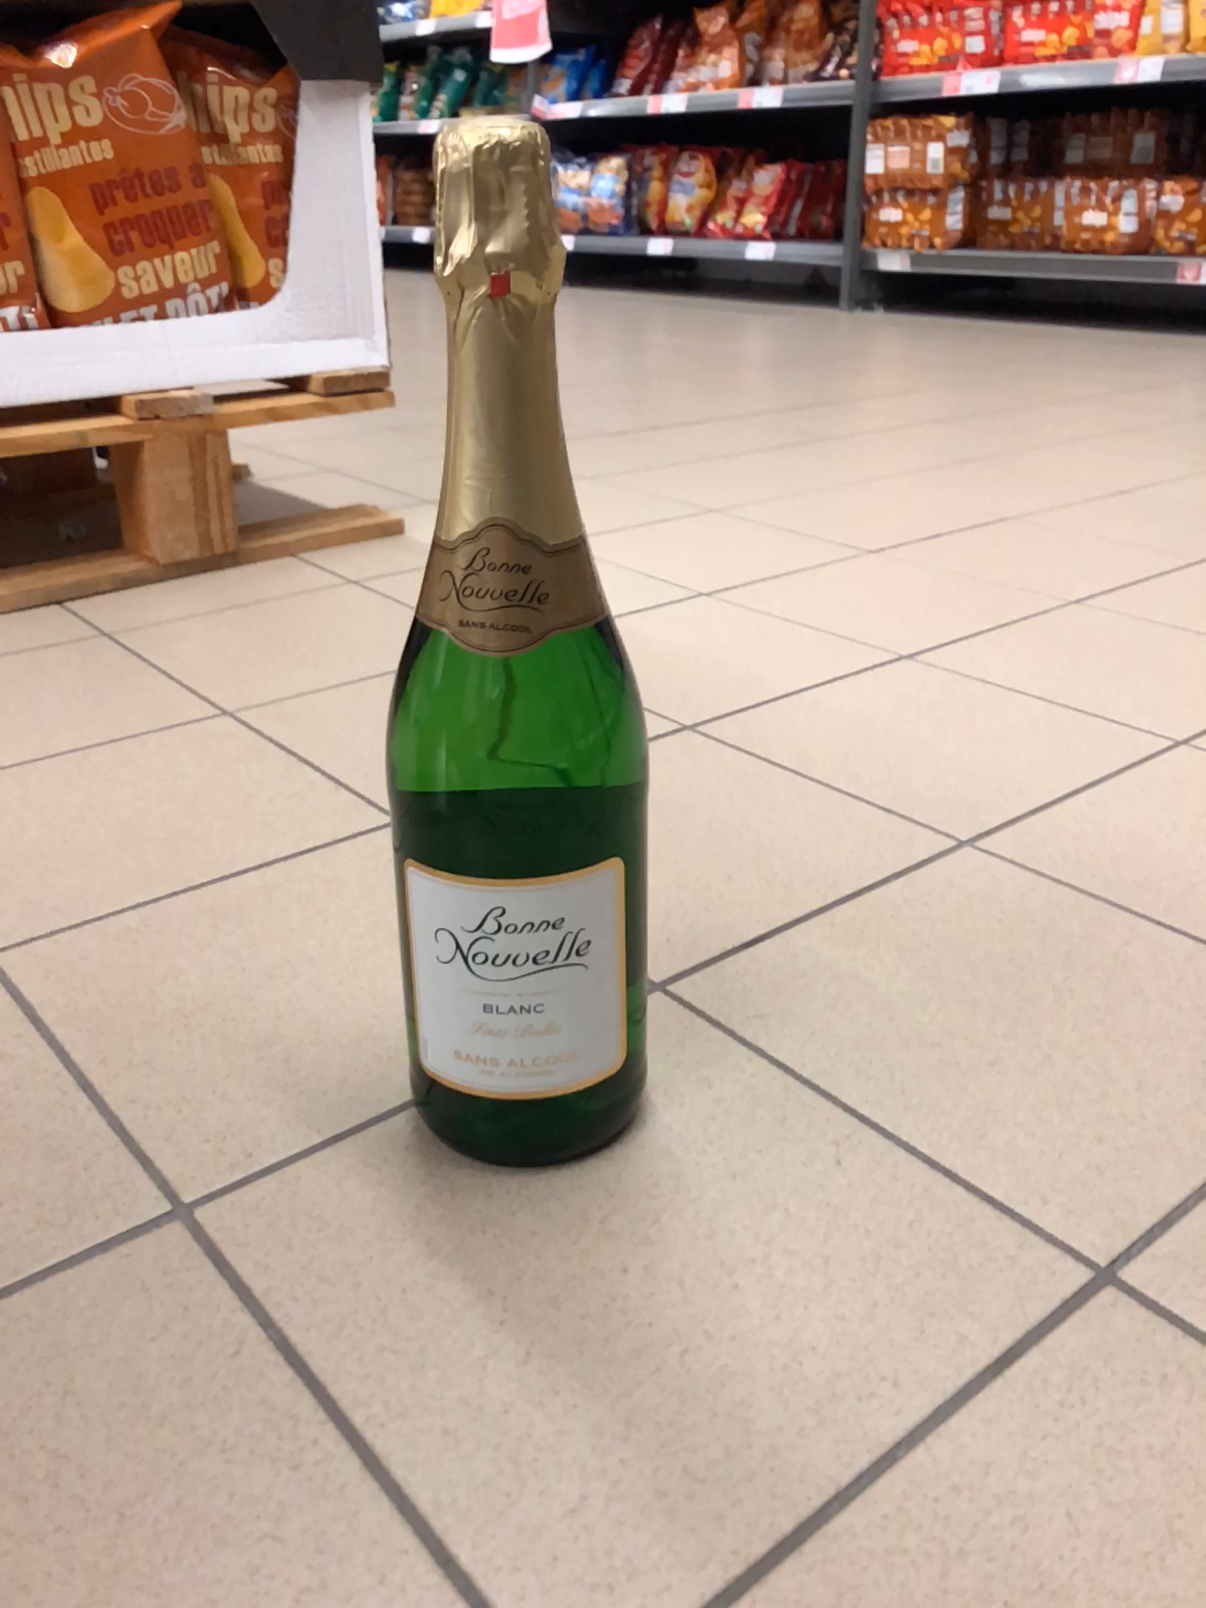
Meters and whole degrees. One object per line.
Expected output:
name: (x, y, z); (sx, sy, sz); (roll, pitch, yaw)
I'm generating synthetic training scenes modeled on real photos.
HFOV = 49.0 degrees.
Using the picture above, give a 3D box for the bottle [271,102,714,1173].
bottle: (-0.024, -0.040, 0.400); (0.100, 0.298, 0.090); (-1, 24, -1)
